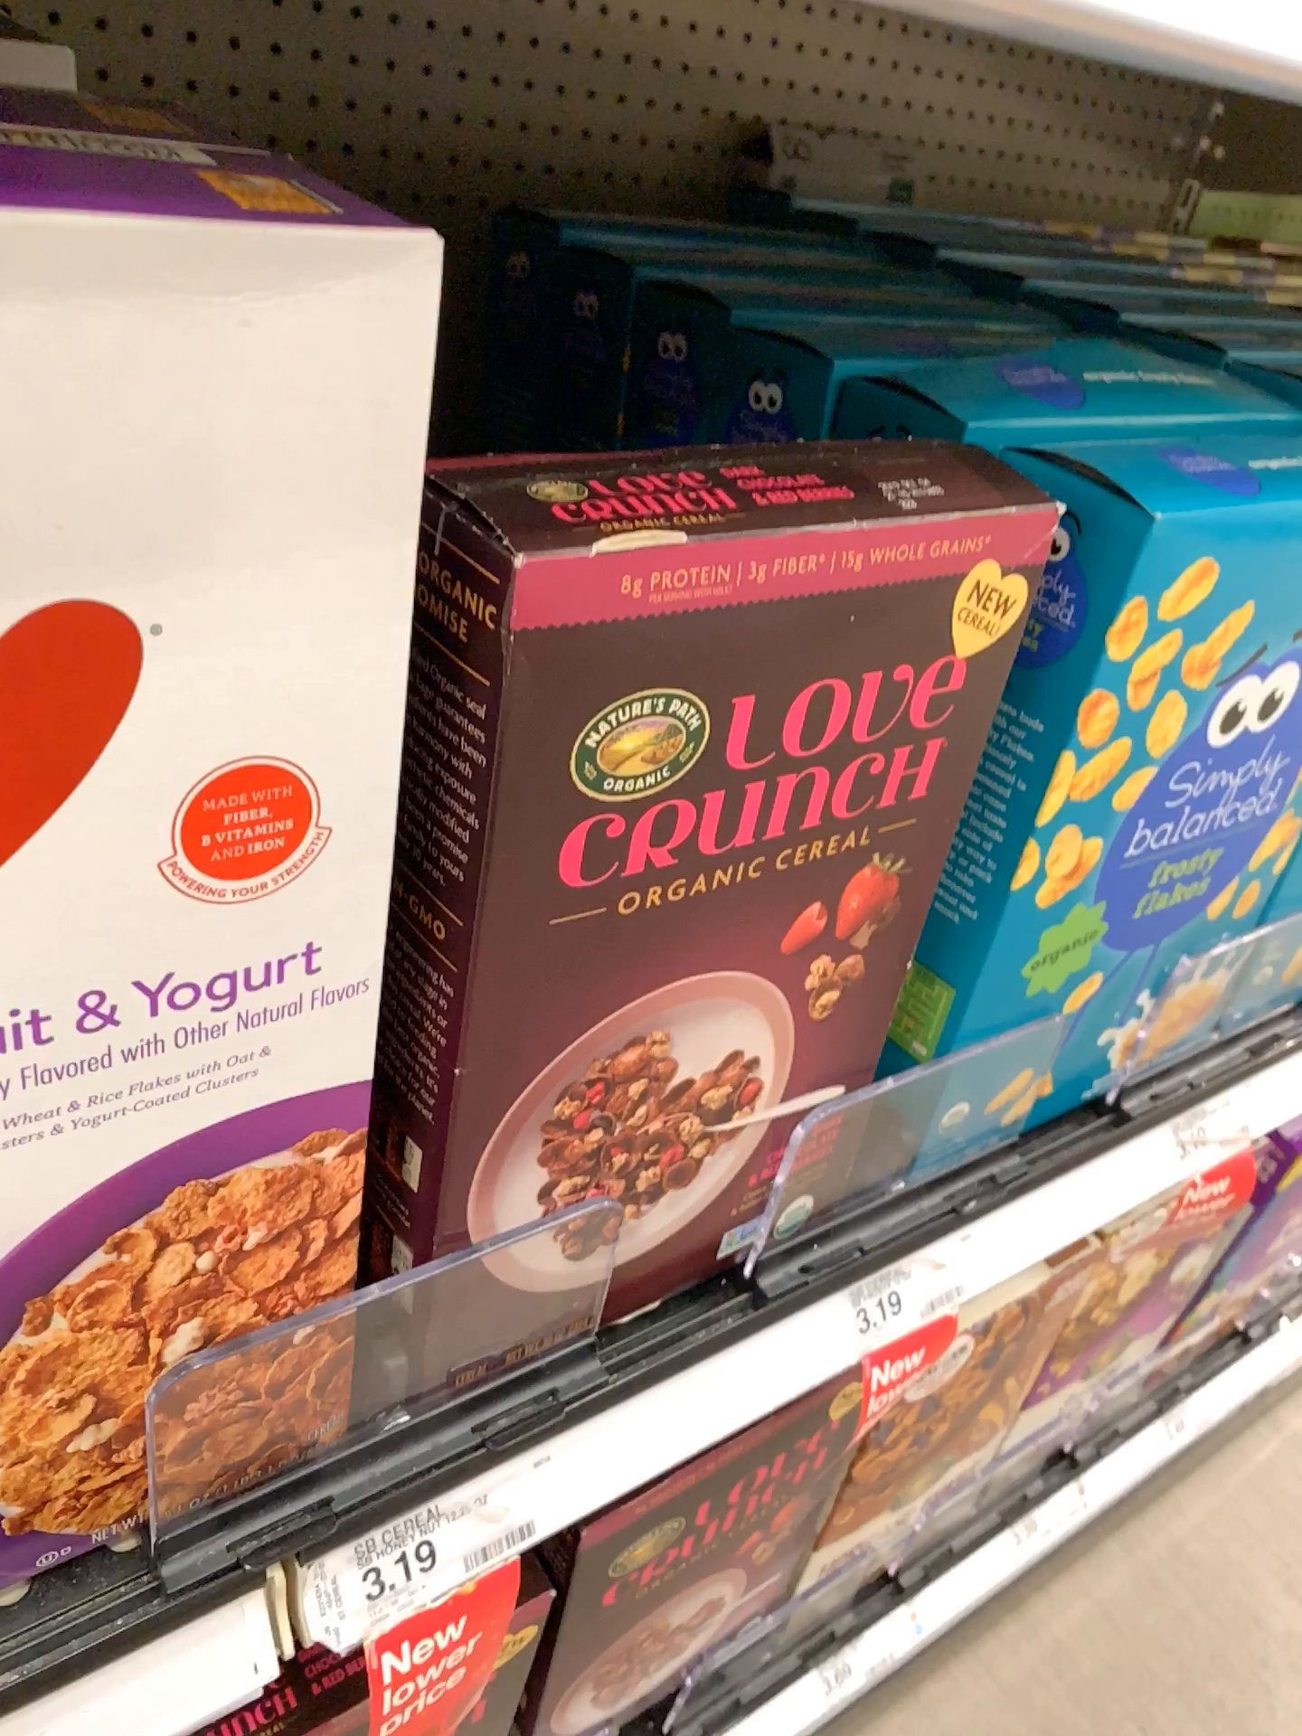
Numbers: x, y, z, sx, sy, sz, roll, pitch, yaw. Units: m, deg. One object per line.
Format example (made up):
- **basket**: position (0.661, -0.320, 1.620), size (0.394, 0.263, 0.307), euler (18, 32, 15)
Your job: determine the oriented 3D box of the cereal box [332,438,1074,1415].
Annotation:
- **cereal box**: position (0.004, 0.018, 0.365), size (0.160, 0.249, 0.050), euler (-15, 41, -34)
